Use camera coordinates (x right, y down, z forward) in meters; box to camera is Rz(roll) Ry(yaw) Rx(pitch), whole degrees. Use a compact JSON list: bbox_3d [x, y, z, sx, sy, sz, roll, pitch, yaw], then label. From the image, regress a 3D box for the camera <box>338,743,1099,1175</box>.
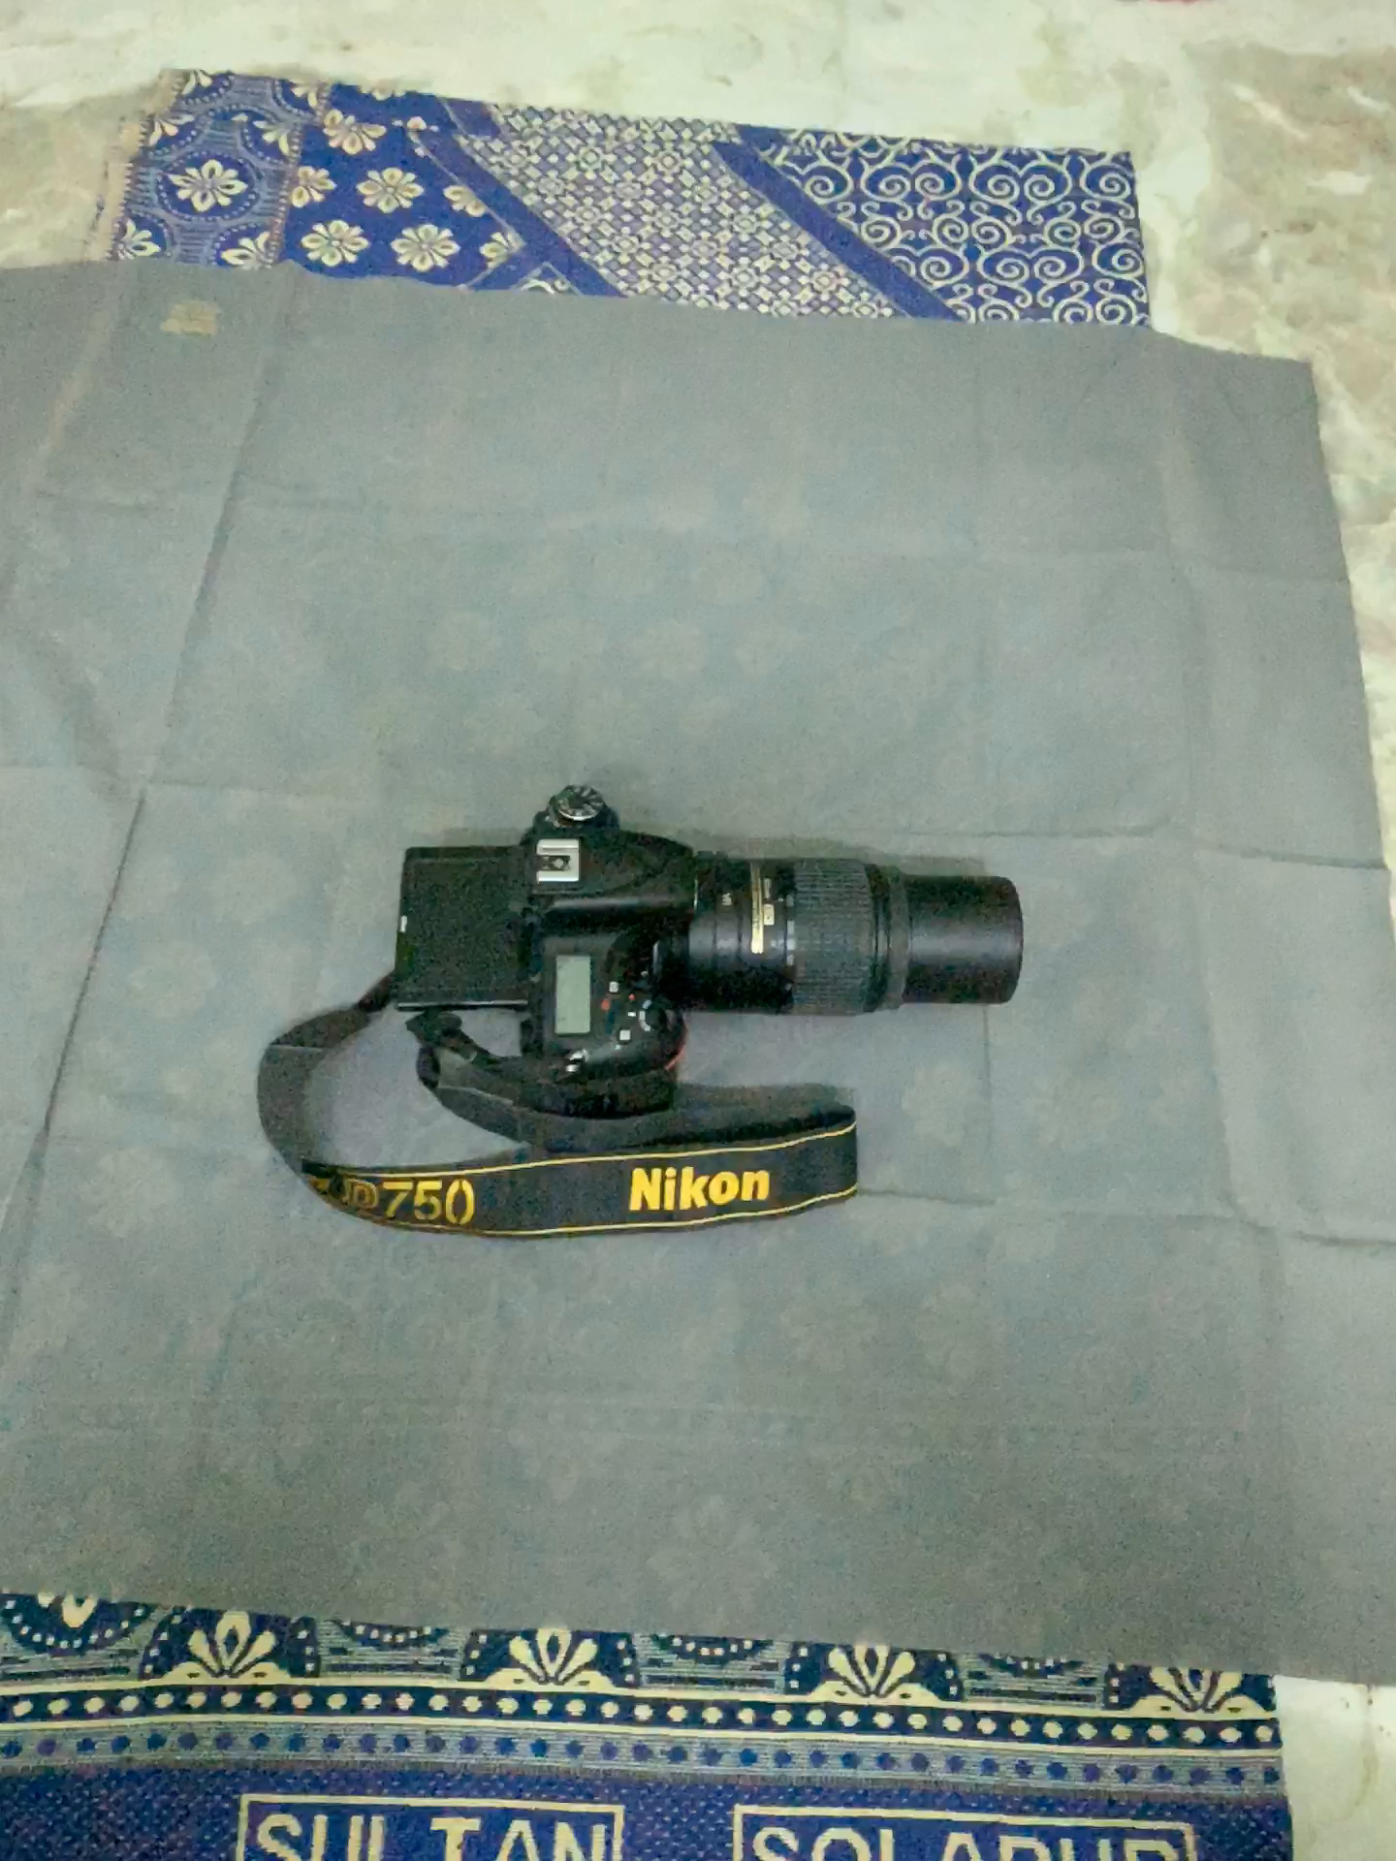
[{"bbox_3d":[0.009,0.015,0.622,0.288,0.110,0.147,2,64,0],"label":"camera"}]
